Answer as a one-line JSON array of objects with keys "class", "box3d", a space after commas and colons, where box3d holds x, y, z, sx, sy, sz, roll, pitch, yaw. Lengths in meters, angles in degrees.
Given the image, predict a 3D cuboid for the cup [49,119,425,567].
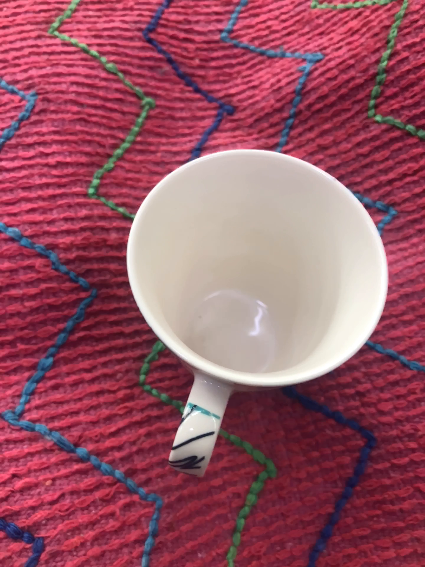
[{"class": "cup", "box3d": [0.016, 0.021, 0.177, 0.090, 0.080, 0.110, 17, 77, 5]}]
